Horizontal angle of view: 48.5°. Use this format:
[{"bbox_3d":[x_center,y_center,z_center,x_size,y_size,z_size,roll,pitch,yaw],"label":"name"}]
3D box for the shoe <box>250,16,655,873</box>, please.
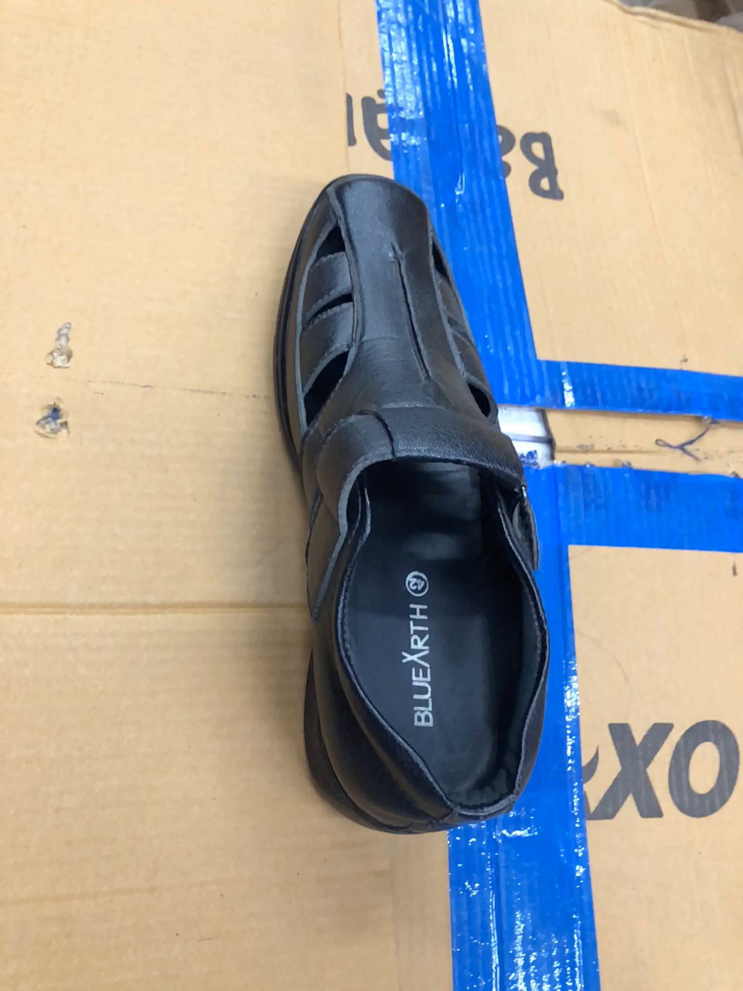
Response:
[{"bbox_3d":[0.014,-0.024,0.330,0.100,0.100,0.301,1,72,-18],"label":"shoe"}]
